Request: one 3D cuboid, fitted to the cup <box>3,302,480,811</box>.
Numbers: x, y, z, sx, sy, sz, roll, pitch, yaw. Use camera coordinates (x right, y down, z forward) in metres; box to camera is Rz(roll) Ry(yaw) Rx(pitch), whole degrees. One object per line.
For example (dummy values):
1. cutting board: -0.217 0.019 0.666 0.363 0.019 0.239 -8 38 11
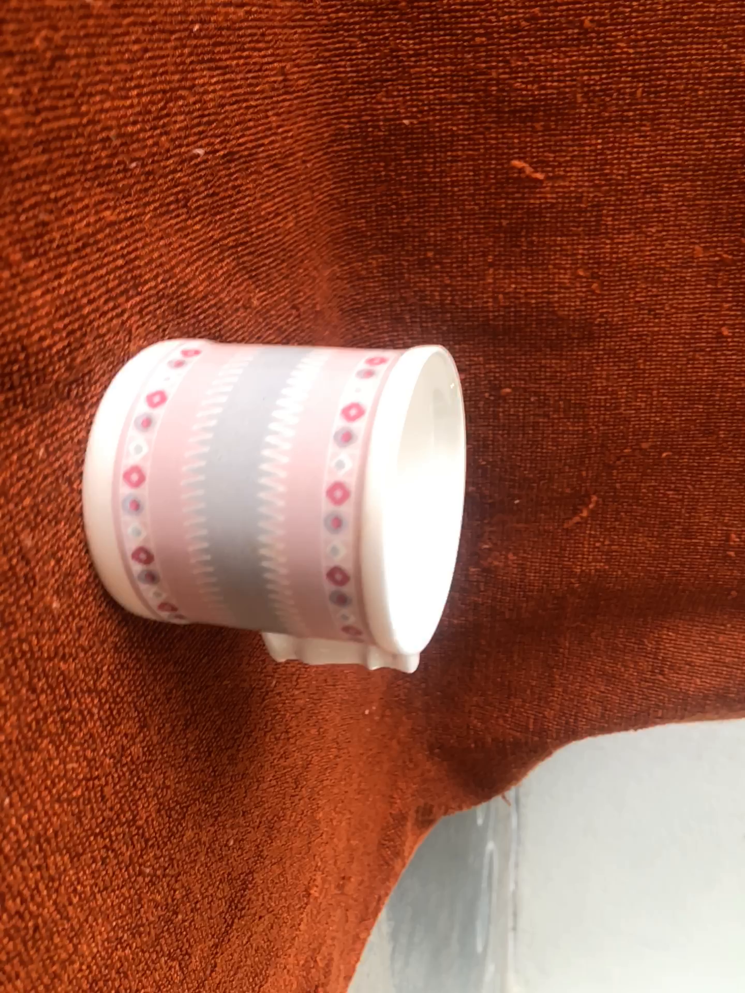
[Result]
1. cup: -0.018 0.013 0.187 0.060 0.070 0.090 -67 157 -45
